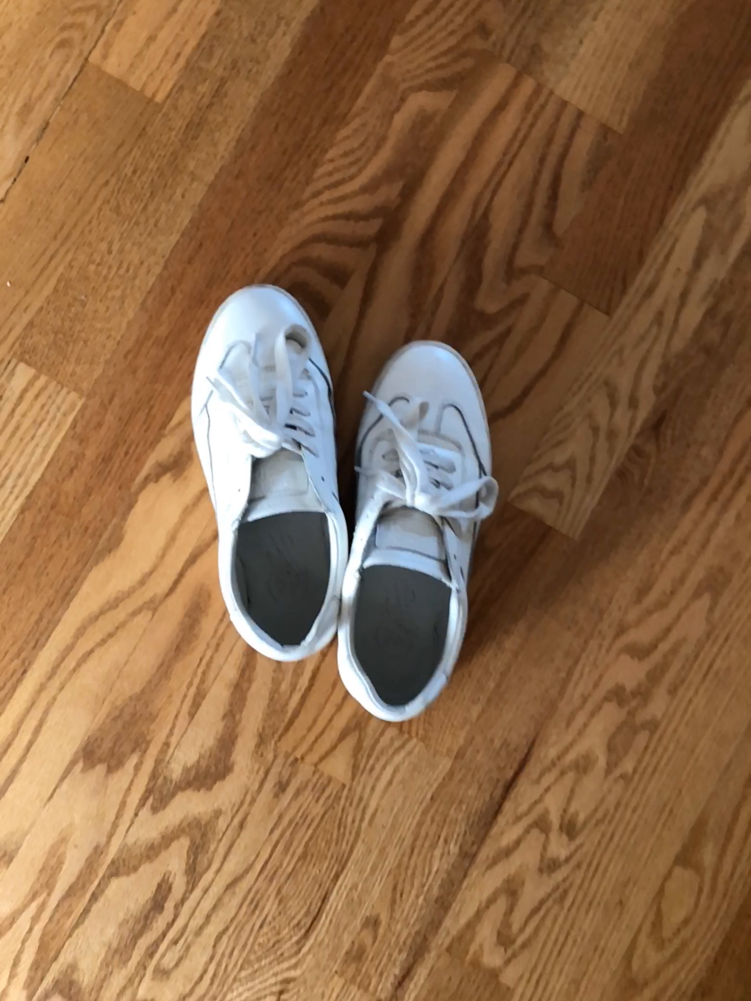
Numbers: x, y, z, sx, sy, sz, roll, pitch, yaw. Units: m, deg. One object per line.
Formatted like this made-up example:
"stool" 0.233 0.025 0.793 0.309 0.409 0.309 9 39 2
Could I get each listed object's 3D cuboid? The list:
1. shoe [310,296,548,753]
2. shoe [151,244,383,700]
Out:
"shoe" 0.030 0.015 0.548 0.102 0.107 0.260 9 89 -3
"shoe" -0.067 -0.017 0.545 0.102 0.104 0.260 -8 90 -3
